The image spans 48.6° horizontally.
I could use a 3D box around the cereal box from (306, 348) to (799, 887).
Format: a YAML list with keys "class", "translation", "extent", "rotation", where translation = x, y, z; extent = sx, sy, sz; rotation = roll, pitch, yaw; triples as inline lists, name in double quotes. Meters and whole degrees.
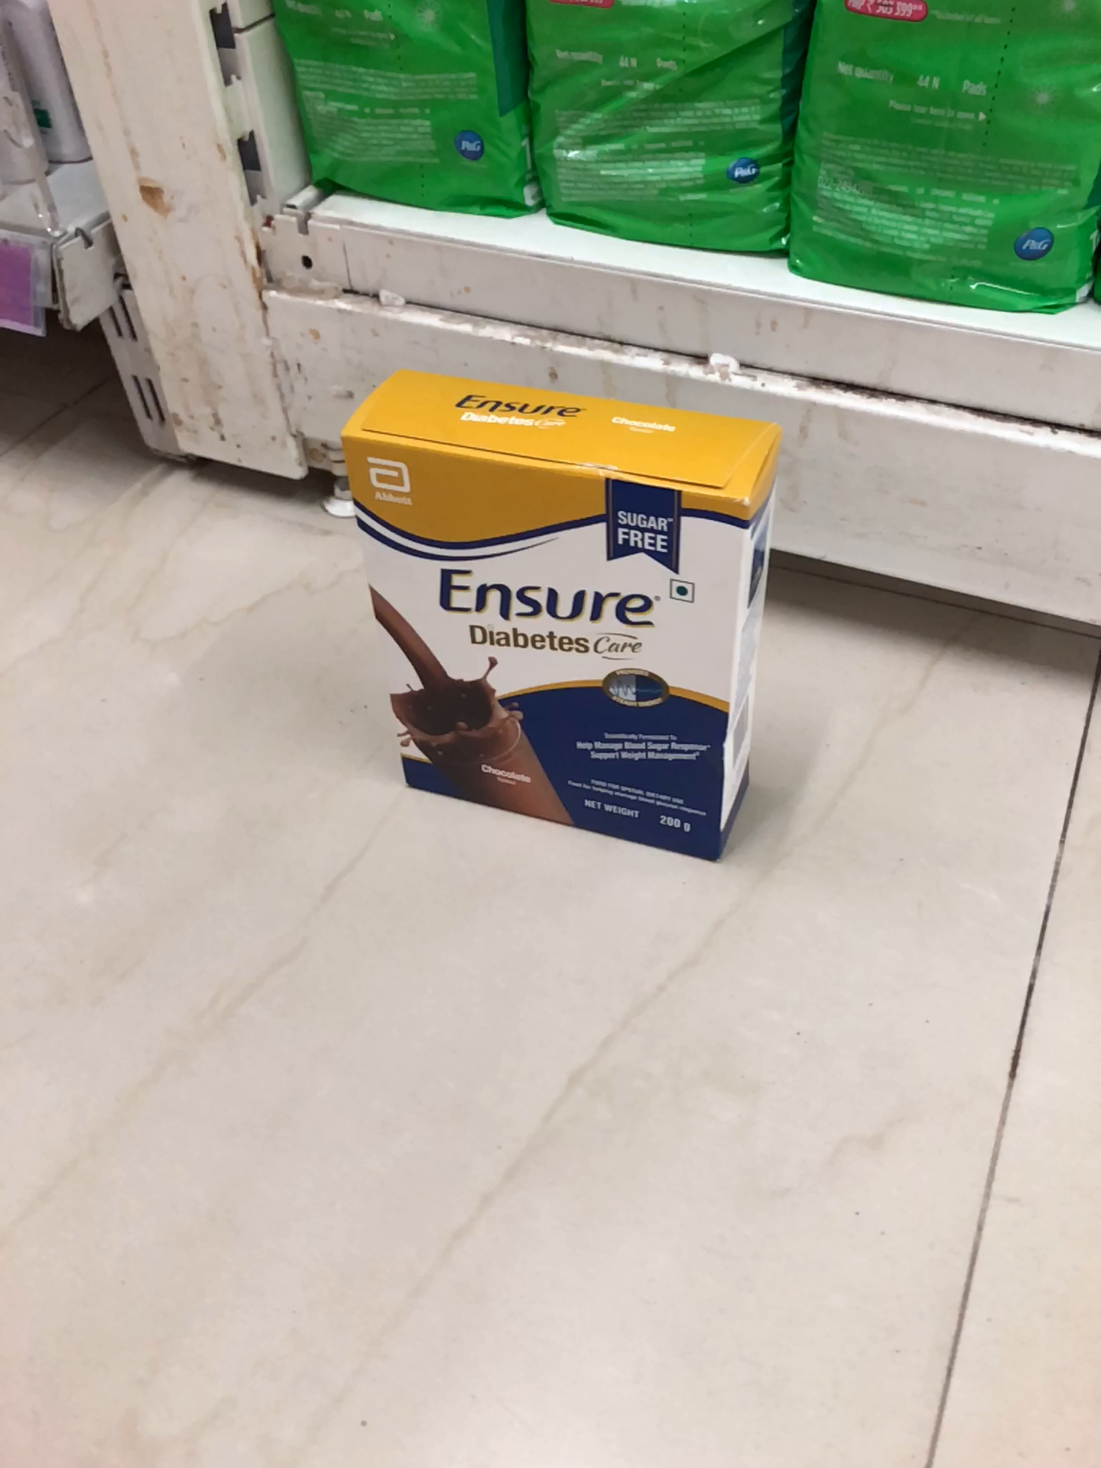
- class: "cereal box"
  translation: [0.005, -0.036, 0.427]
  extent: [0.140, 0.169, 0.050]
  rotation: [13, 48, 17]
